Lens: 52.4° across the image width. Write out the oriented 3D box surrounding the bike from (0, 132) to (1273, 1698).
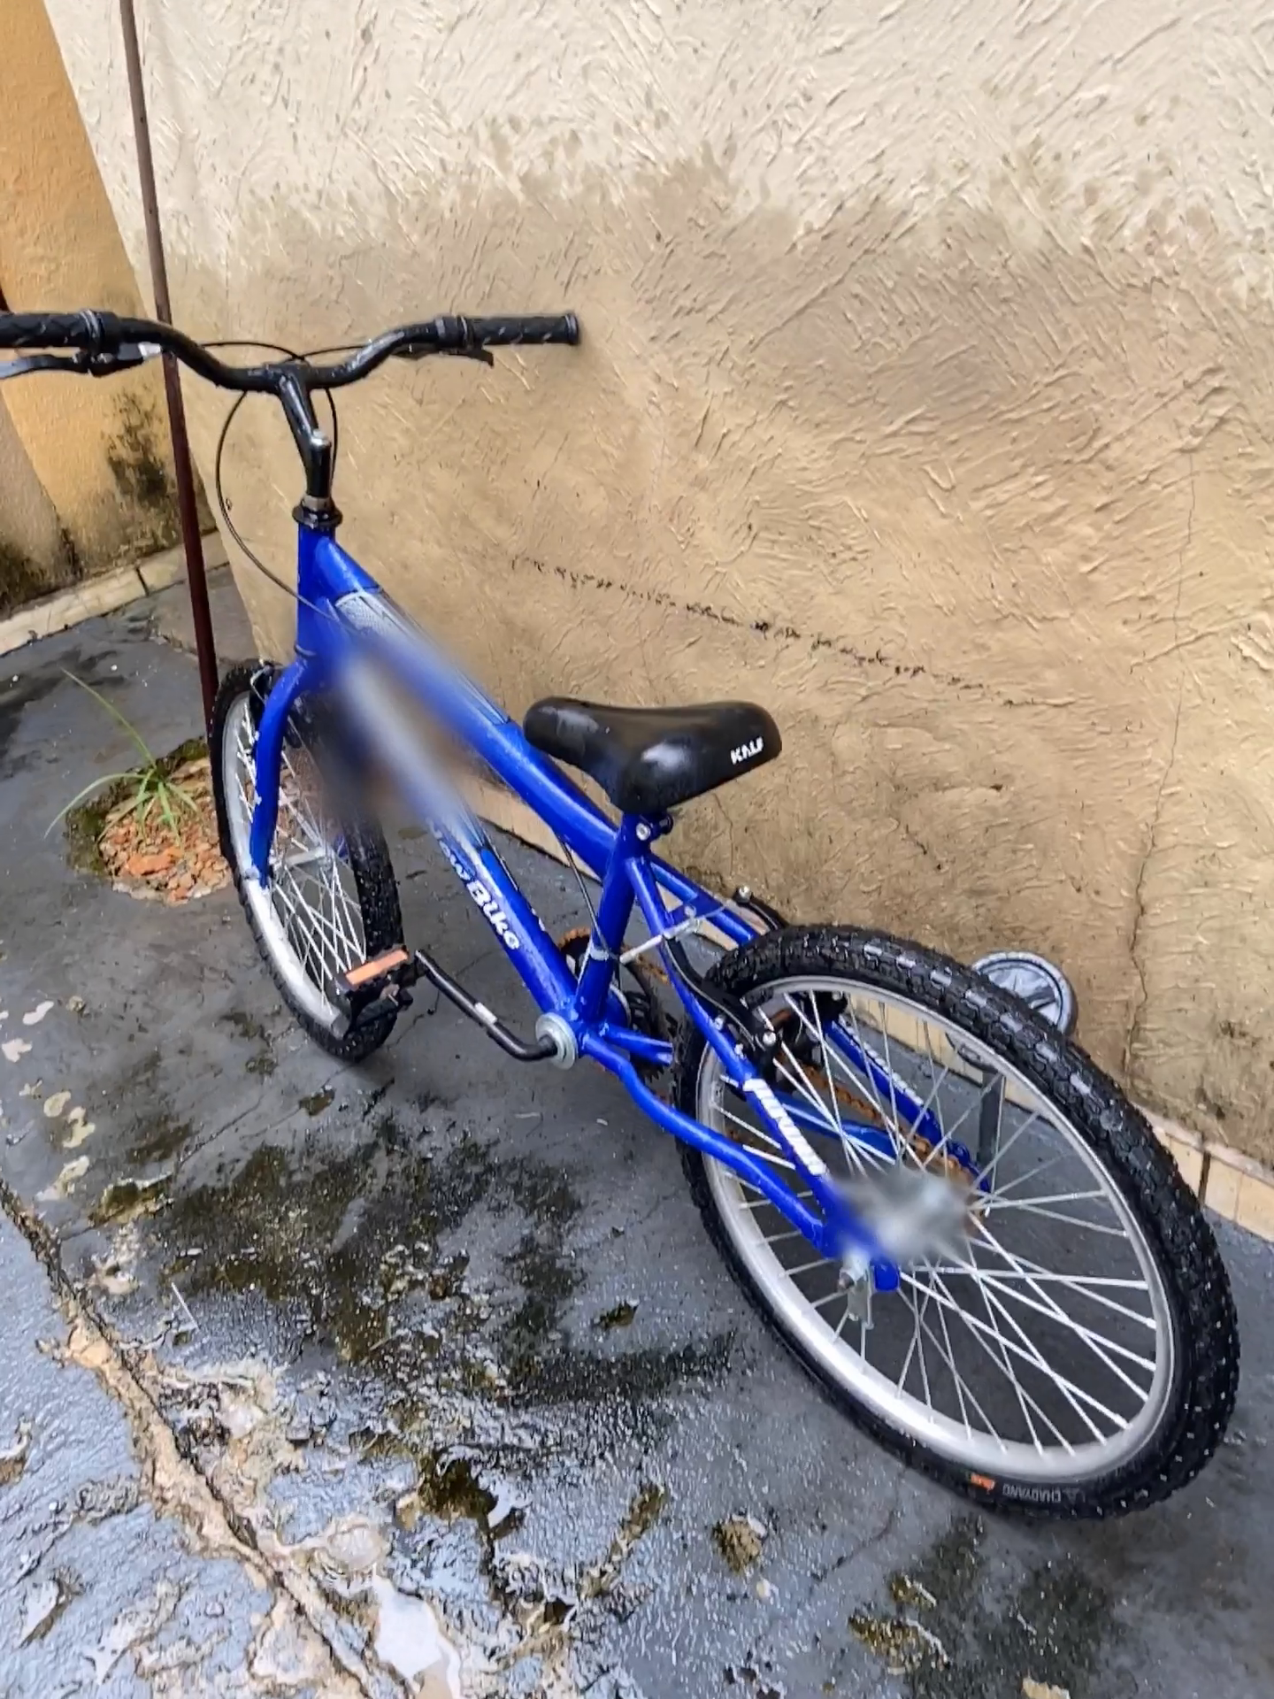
[{"bbox_3d":[-0.041,-0.083,1.123,0.544,0.849,1.254,-34,42,-32],"label":"bike"}]
